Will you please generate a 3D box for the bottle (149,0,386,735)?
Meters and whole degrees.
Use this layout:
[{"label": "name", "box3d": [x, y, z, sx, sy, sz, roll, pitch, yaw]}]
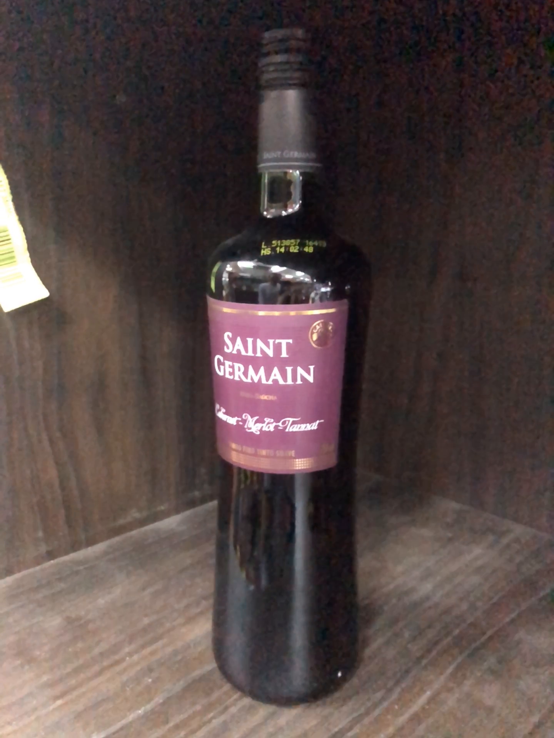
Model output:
[{"label": "bottle", "box3d": [0.001, 0.001, 0.286, 0.080, 0.309, 0.070, 3, 13, 16]}]
